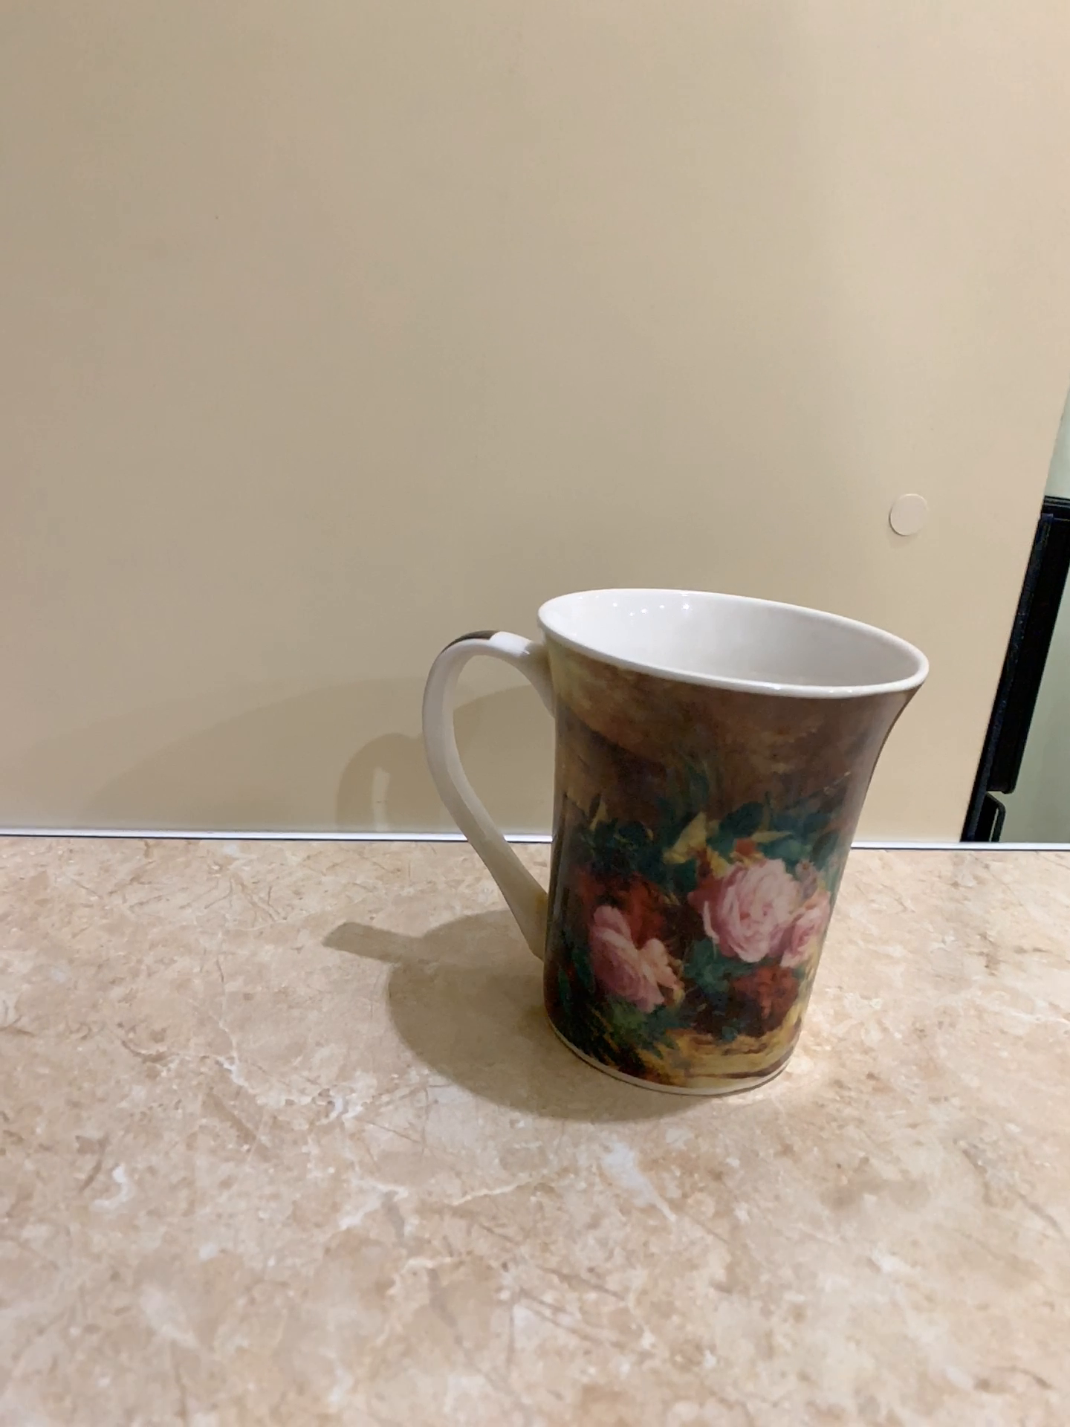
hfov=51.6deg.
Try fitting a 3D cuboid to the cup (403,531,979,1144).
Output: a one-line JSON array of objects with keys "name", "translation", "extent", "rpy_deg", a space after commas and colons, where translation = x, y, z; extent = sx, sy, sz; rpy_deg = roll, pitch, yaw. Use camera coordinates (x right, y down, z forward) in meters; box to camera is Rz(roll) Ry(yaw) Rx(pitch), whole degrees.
[{"name": "cup", "translation": [0.039, 0.018, 0.270], "extent": [0.101, 0.096, 0.095], "rpy_deg": [5, 20, -2]}]
